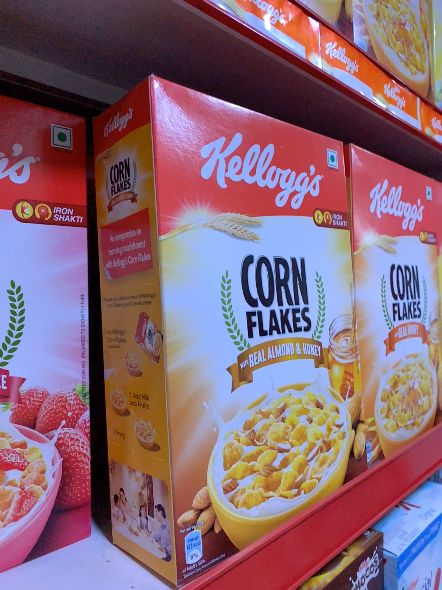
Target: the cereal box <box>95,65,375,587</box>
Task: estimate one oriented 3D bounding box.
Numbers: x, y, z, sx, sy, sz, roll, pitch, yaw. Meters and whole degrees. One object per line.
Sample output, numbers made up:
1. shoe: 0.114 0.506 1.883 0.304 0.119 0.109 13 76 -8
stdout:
1. cereal box: 0.019 0.010 0.284 0.170 0.230 0.060 -2 0 -43
